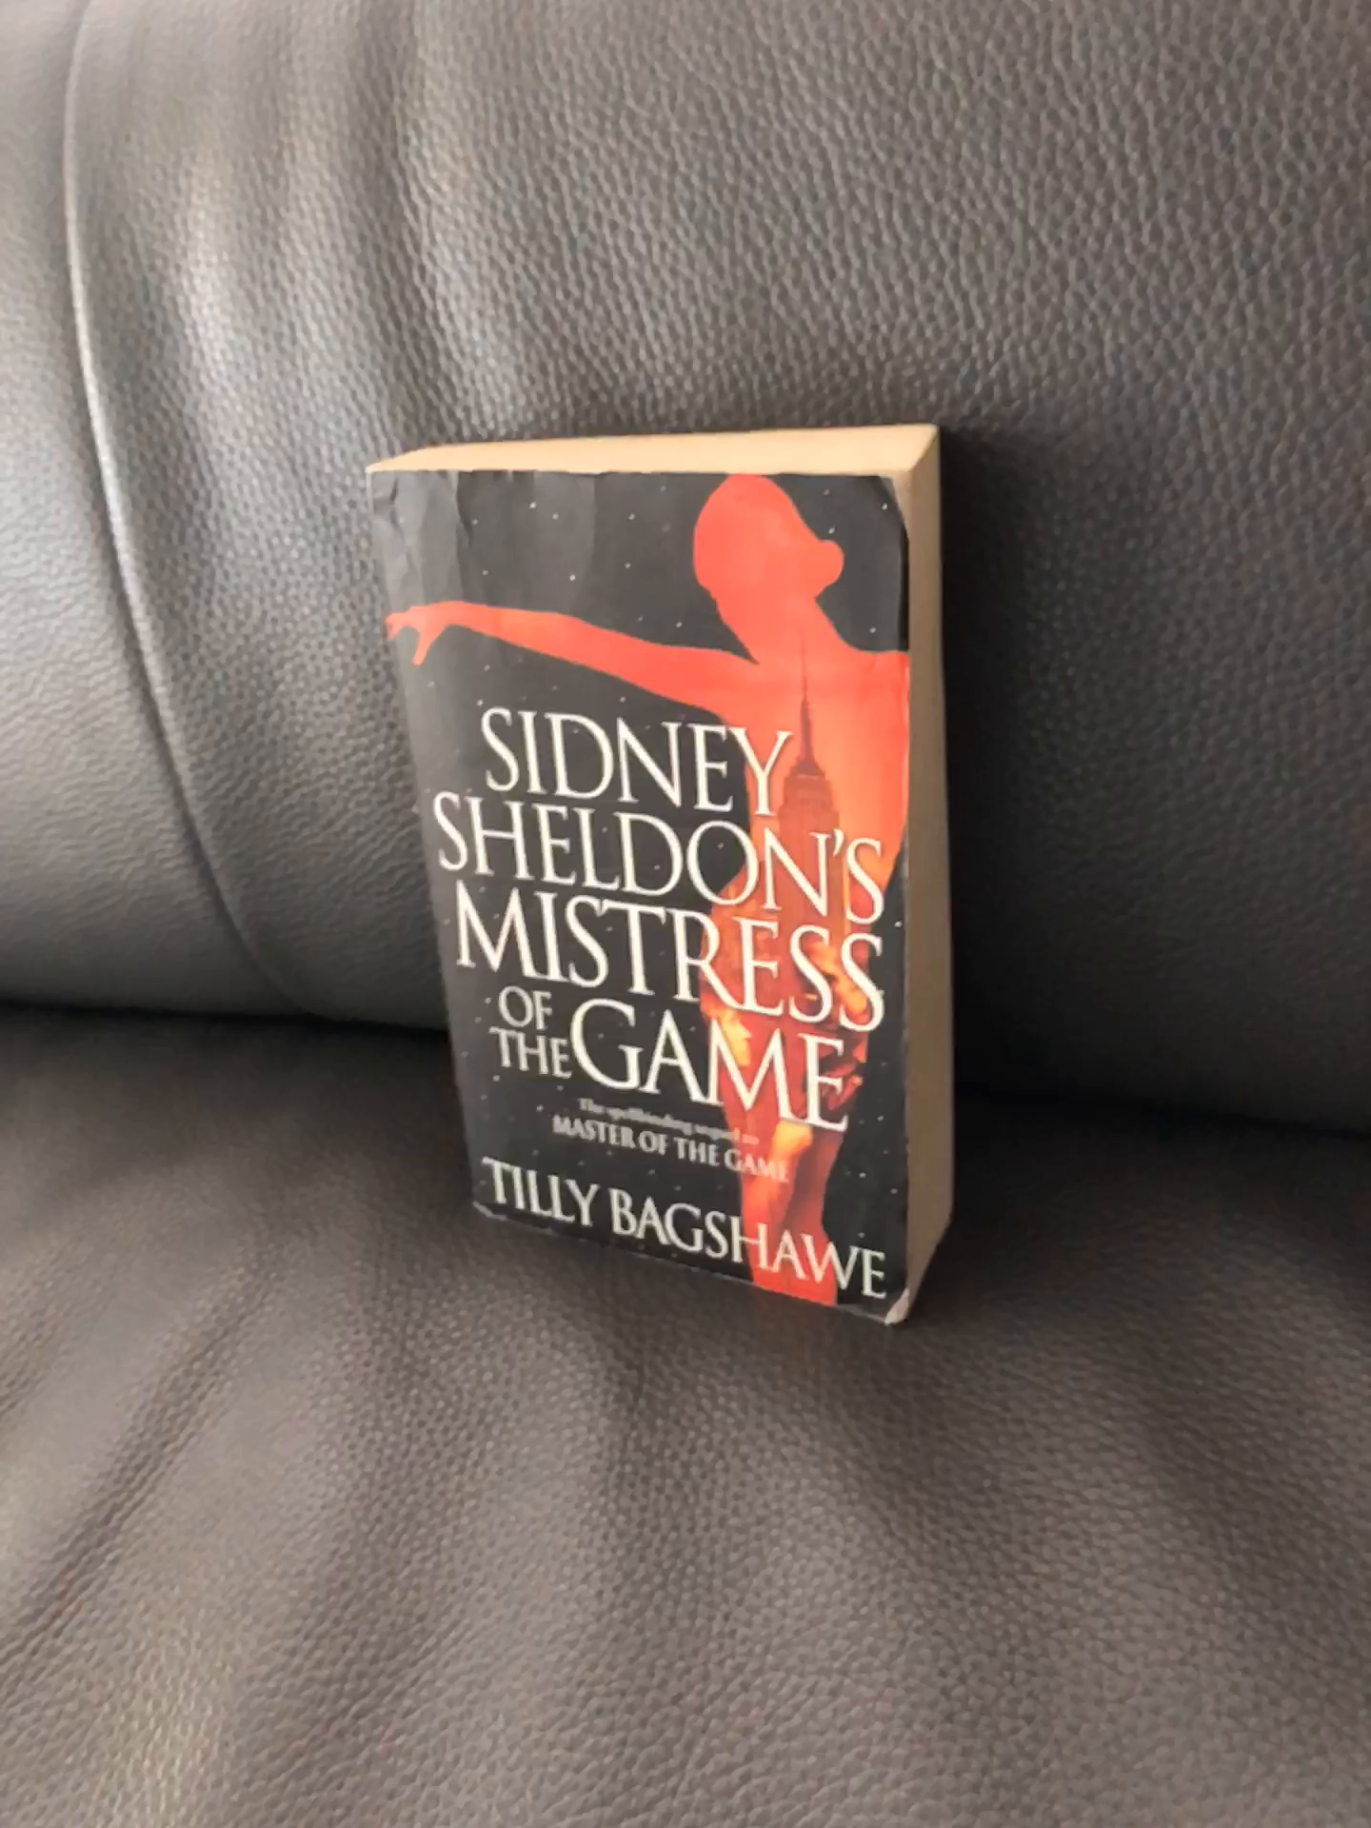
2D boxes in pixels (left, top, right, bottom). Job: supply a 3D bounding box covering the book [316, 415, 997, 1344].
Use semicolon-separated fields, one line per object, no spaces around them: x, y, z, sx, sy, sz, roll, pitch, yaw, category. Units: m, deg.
0.000;-0.008;0.326;0.119;0.179;0.046;8;29;27;book
